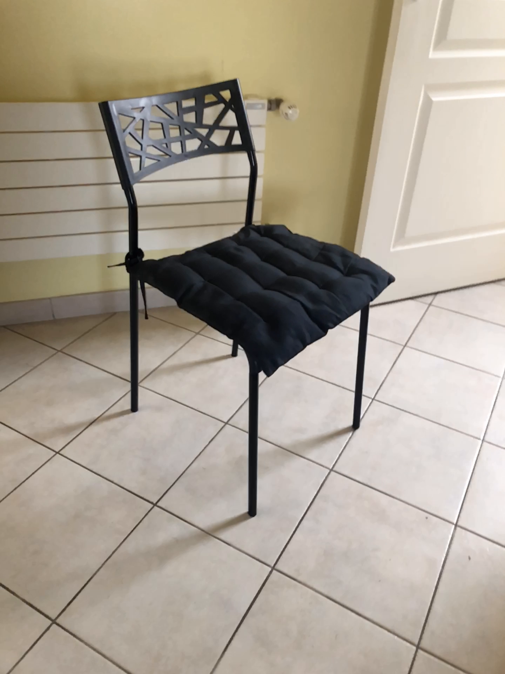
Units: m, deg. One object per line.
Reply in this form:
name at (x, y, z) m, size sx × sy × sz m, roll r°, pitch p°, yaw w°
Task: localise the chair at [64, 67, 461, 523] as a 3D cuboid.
chair at (0.012, -0.131, 1.233) m, size 0.520 × 0.735 × 0.523 m, roll 29°, pitch 43°, yaw 33°
